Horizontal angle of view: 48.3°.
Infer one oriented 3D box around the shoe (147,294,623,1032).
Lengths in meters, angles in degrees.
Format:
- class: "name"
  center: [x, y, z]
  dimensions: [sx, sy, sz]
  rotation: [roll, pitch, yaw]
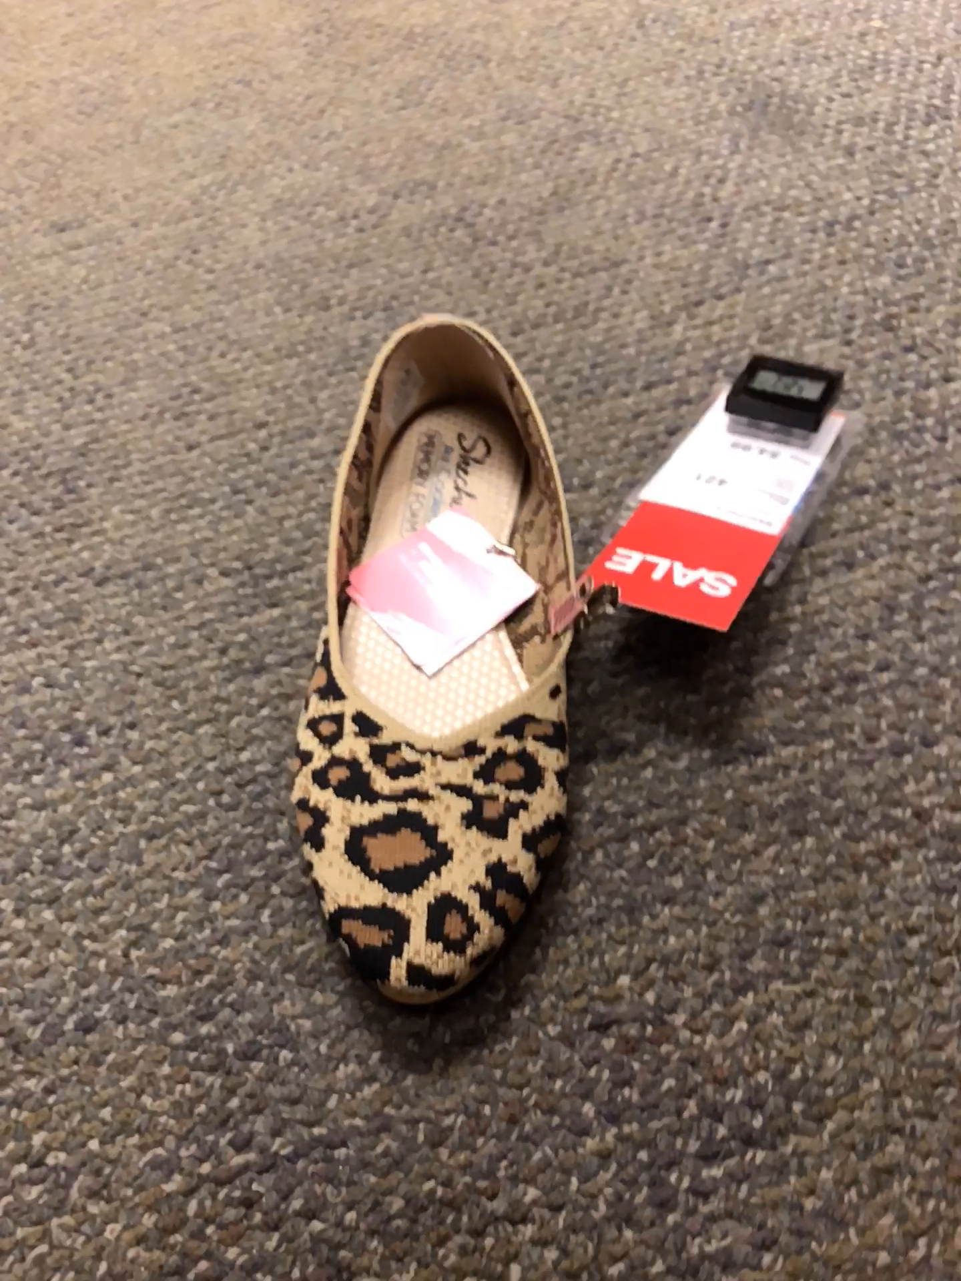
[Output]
- class: "shoe"
  center: [-0.018, -0.009, 0.327]
  dimensions: [0.104, 0.056, 0.232]
  rotation: [-4, 51, 6]
